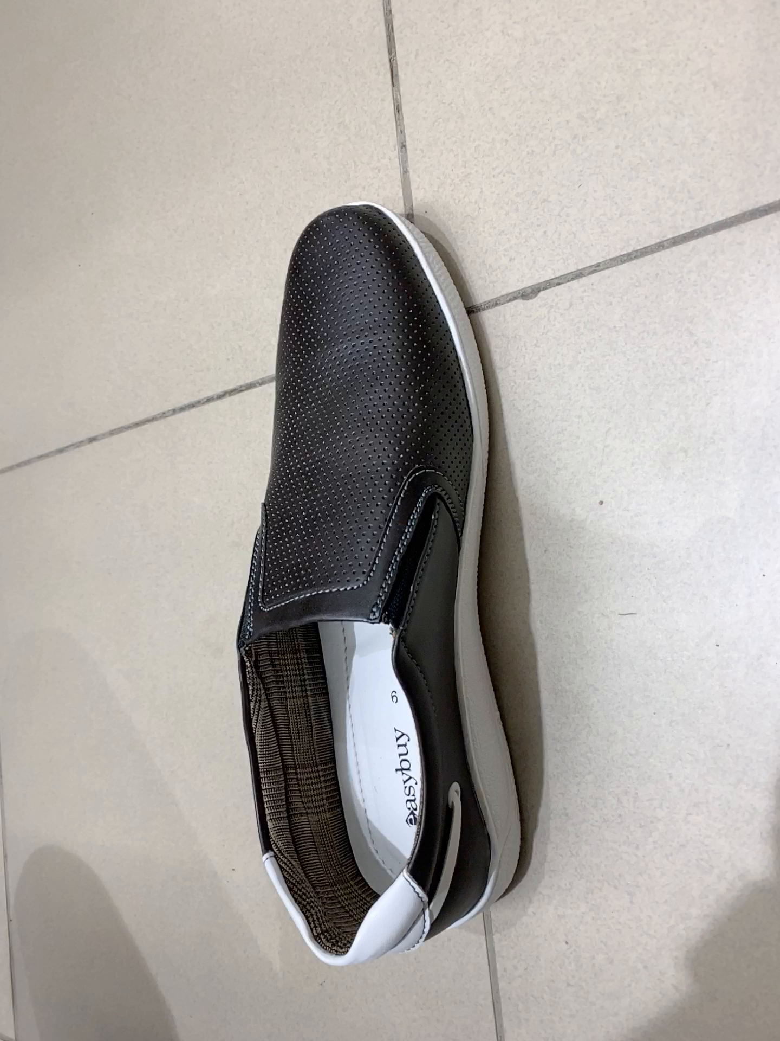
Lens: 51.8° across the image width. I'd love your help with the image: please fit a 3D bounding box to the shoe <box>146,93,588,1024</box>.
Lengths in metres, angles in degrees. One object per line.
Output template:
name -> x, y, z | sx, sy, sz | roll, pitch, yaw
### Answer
shoe -> -0.014, 0.012, 0.325 | 0.111, 0.090, 0.300 | -13, 82, 37
